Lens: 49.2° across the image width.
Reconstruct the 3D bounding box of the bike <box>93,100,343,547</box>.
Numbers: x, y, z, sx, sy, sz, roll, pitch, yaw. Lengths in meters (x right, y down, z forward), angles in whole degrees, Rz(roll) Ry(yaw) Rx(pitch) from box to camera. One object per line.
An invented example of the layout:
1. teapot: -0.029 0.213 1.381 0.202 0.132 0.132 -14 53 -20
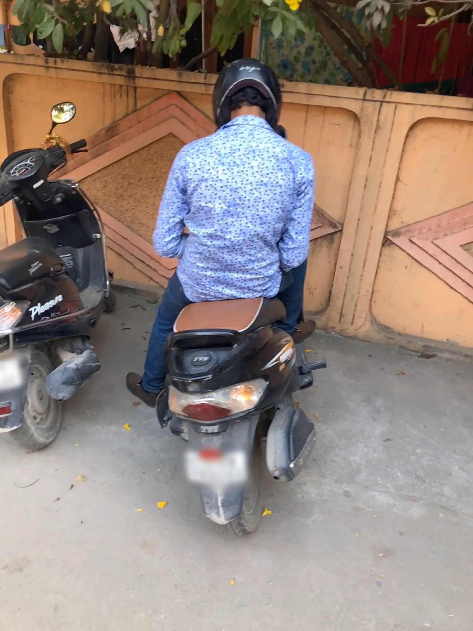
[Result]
1. bike: -0.111 -0.122 2.059 0.628 1.038 1.327 4 30 -3
